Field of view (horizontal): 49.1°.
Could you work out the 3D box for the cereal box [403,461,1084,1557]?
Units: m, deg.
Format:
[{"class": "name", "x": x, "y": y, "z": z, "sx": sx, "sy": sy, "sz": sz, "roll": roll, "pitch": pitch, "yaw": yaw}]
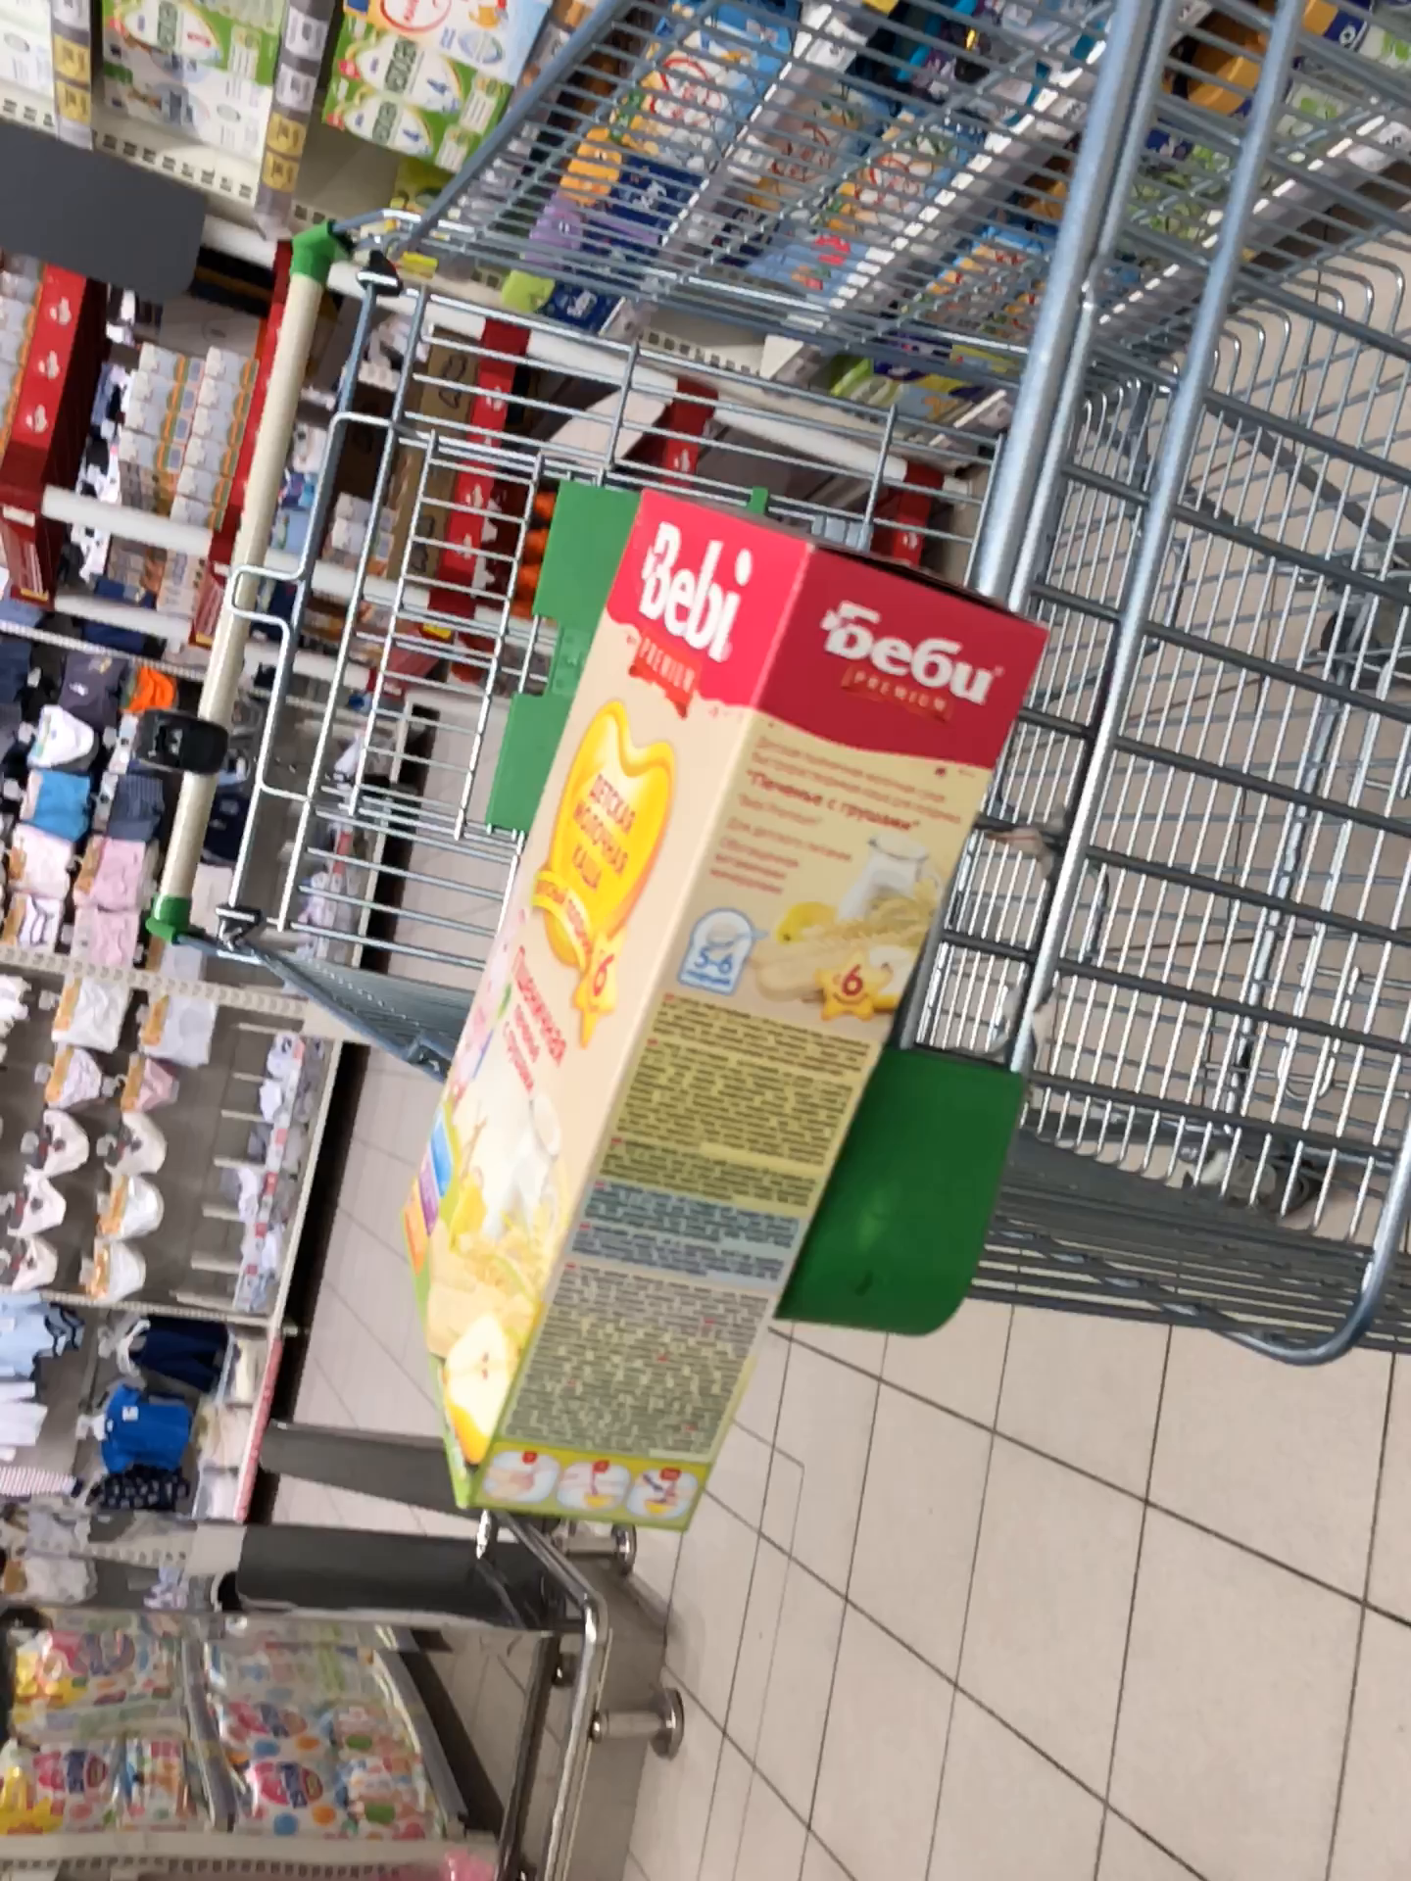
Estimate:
[{"class": "cereal box", "x": -0.008, "y": 0.006, "z": 0.351, "sx": 0.131, "sy": 0.050, "sz": 0.210, "roll": -128, "pitch": 56, "yaw": -65}]
